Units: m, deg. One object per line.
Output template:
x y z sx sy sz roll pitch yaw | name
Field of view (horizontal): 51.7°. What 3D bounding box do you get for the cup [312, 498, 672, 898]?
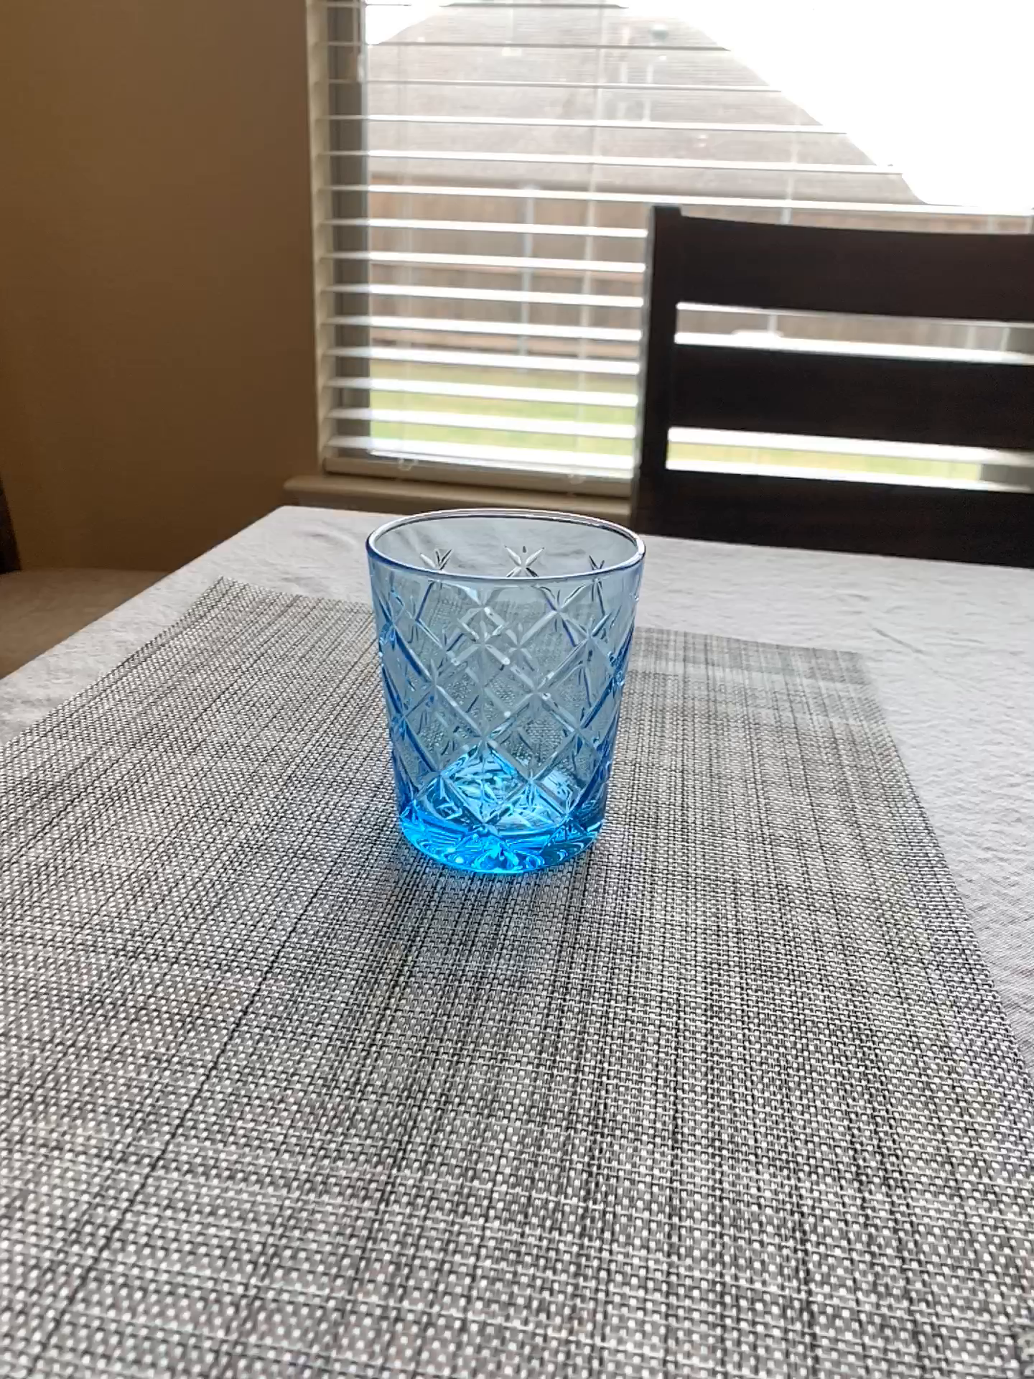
-0.003 -0.004 0.332 0.087 0.085 0.093 2 22 -1 | cup
